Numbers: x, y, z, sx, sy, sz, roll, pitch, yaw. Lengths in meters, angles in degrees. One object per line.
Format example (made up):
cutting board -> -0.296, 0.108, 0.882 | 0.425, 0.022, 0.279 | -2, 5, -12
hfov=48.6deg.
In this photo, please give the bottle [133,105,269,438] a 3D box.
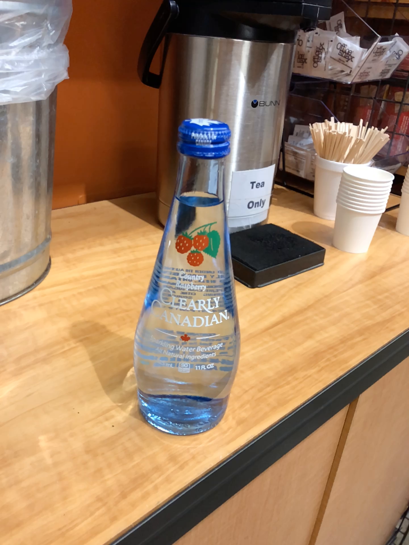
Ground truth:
bottle -> -0.009, 0.006, 0.270 | 0.060, 0.189, 0.060 | 4, 27, -2
